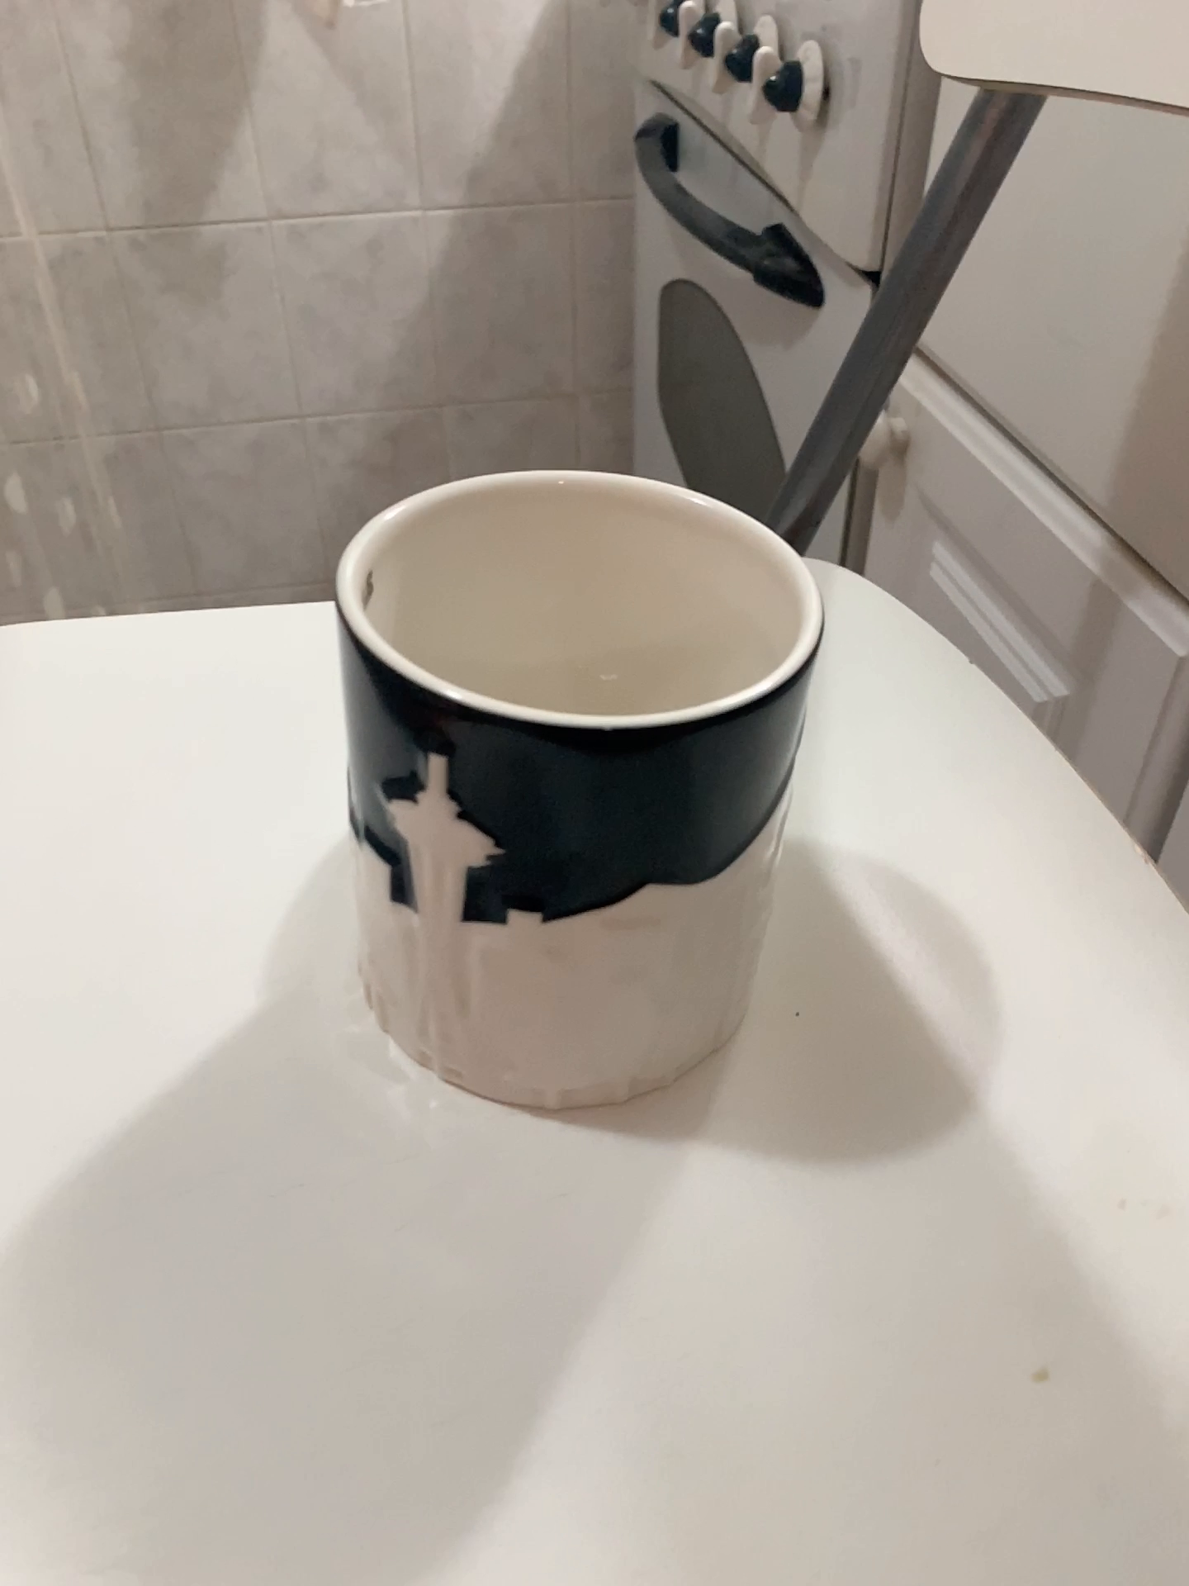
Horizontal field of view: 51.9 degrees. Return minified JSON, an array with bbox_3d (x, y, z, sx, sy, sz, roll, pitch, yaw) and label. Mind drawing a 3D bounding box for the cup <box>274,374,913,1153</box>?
[{"bbox_3d":[-0.011,-0.016,0.282,0.104,0.100,0.144,-7,41,-7],"label":"cup"}]
